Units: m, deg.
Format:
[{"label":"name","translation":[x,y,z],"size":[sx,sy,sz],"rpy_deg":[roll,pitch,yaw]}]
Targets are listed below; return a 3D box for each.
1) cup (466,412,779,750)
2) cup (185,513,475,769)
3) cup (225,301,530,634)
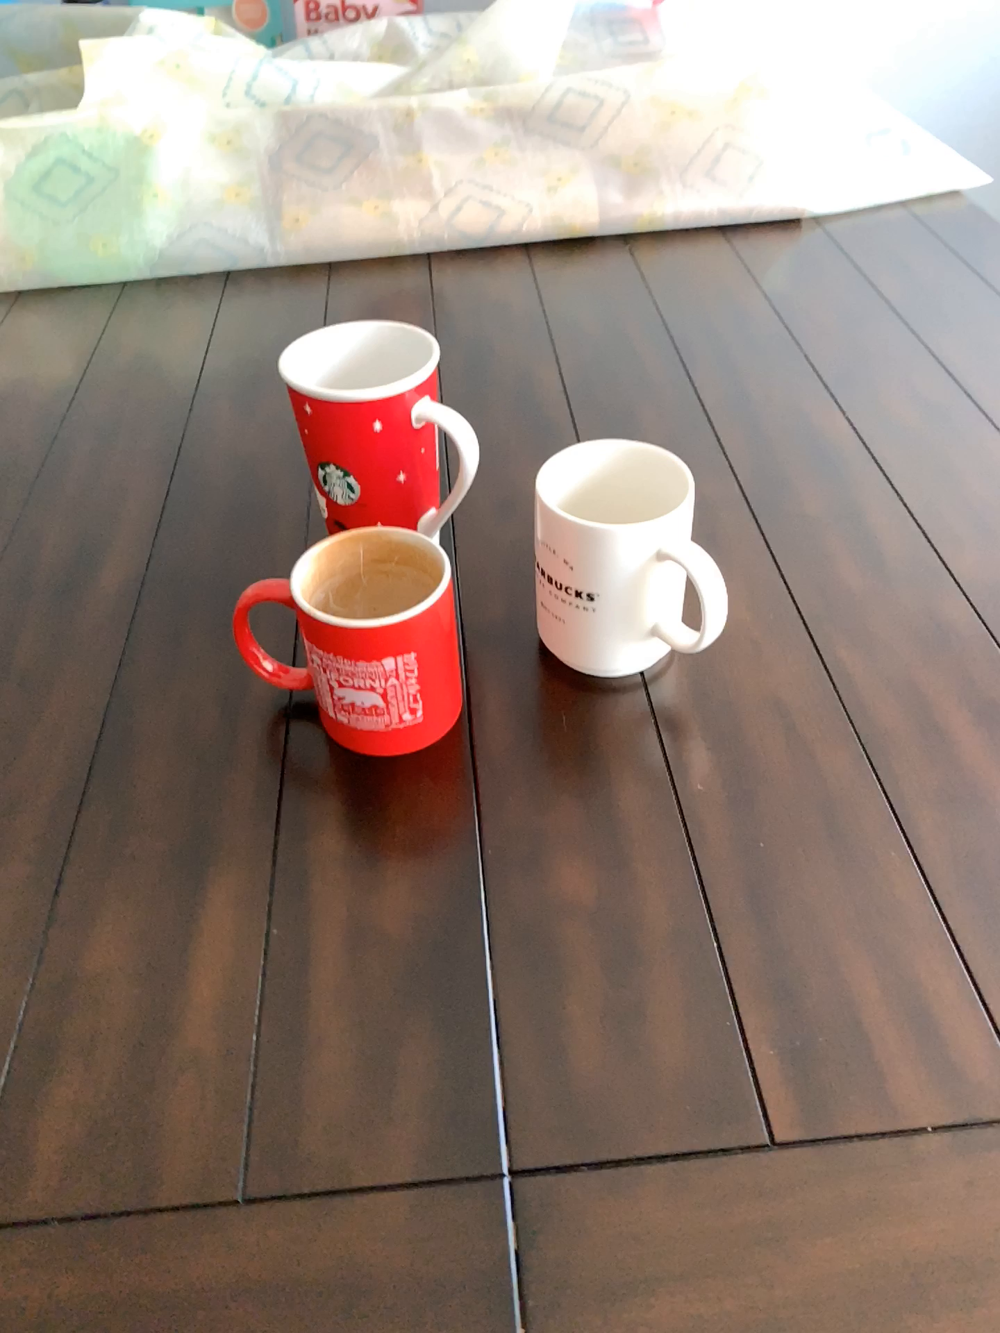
[{"label":"cup","translation":[0.065,-0.053,0.591],"size":[0.100,0.109,0.141],"rpy_deg":[-28,48,-23]},{"label":"cup","translation":[-0.085,-0.015,0.554],"size":[0.120,0.090,0.090],"rpy_deg":[6,44,10]},{"label":"cup","translation":[-0.069,-0.125,0.637],"size":[0.140,0.139,0.100],"rpy_deg":[24,50,26]}]
